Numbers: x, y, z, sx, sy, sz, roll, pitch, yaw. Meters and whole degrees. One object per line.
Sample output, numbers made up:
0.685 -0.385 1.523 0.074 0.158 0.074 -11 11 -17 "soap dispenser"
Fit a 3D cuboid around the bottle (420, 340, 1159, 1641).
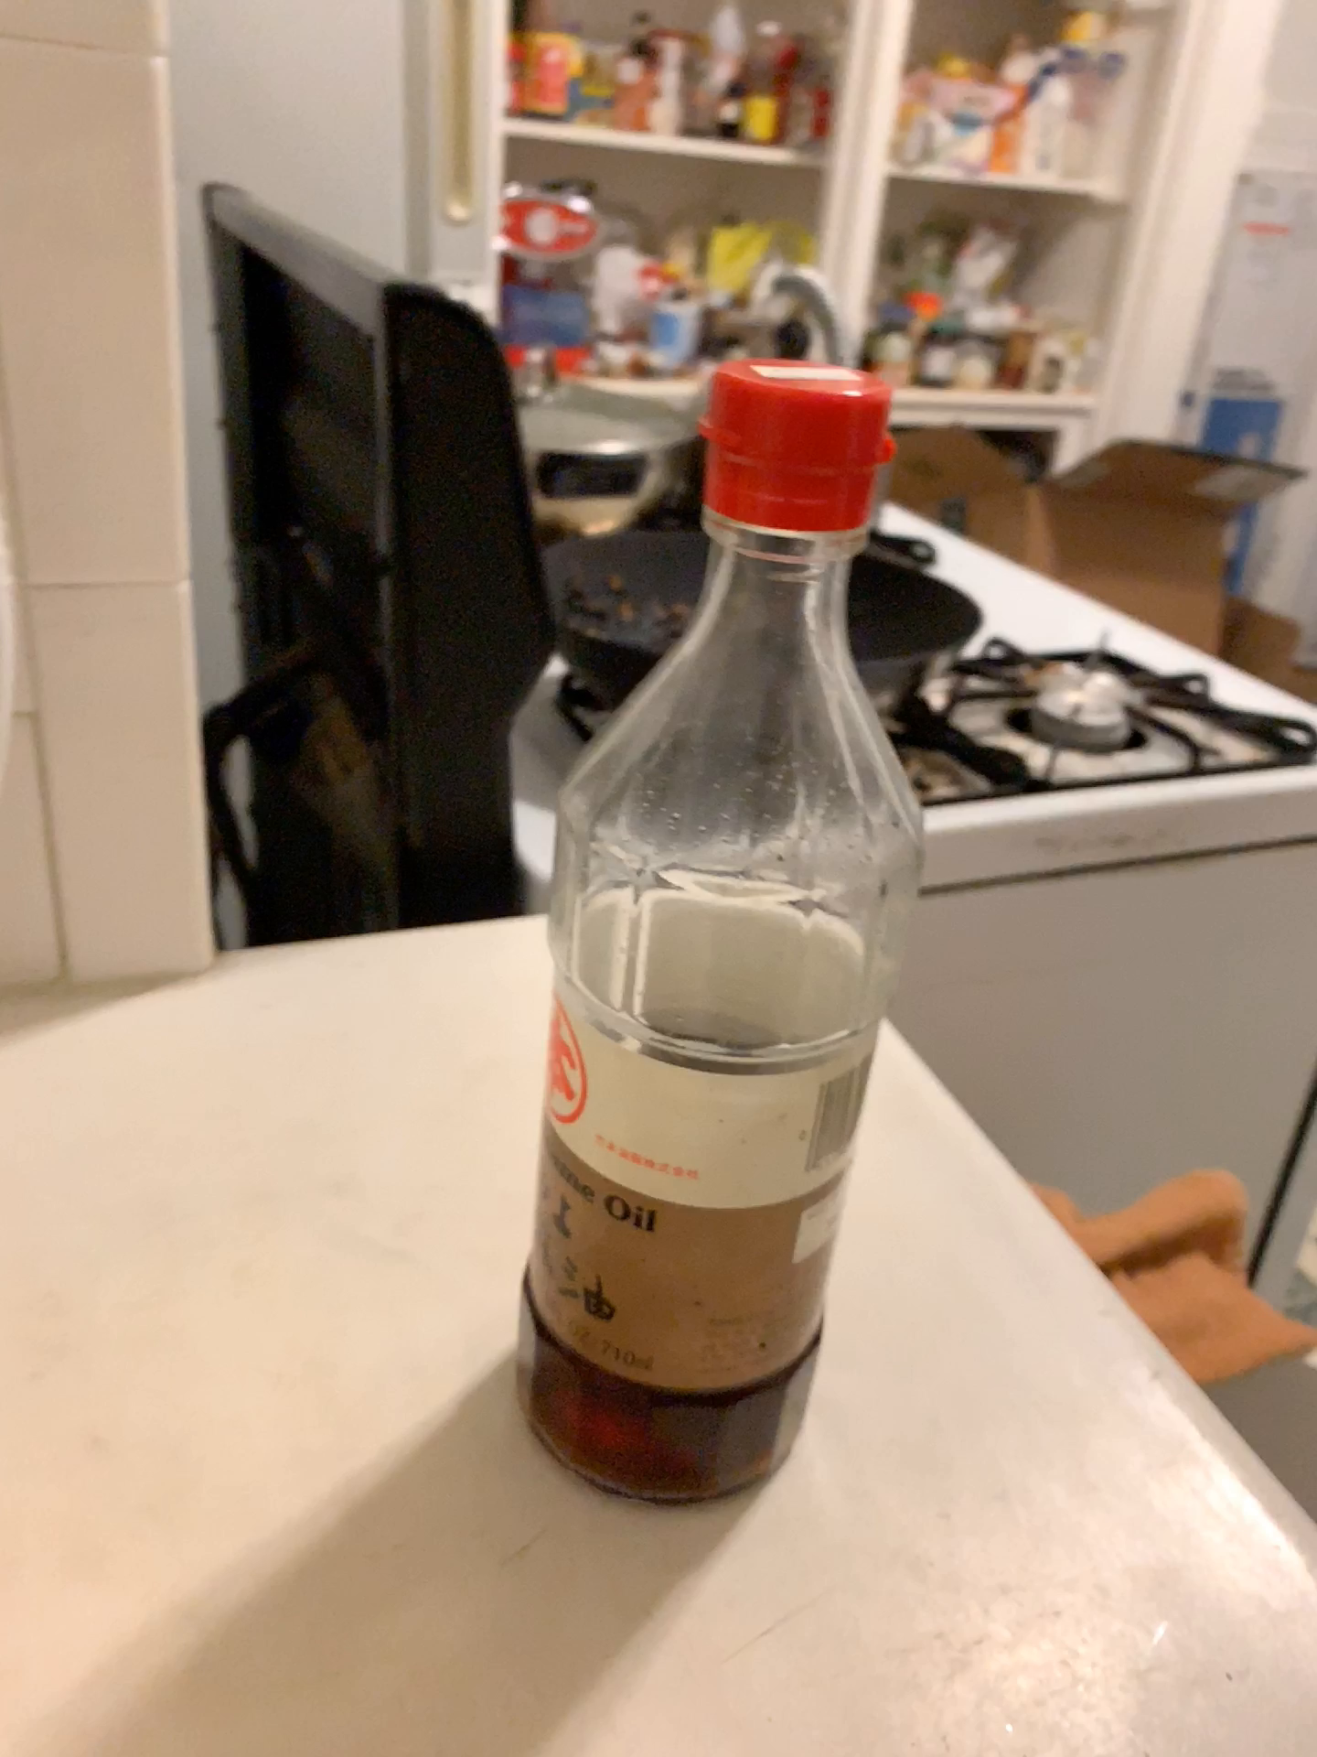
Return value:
0.009 0.028 0.301 0.090 0.259 0.090 5 28 -3 "bottle"
